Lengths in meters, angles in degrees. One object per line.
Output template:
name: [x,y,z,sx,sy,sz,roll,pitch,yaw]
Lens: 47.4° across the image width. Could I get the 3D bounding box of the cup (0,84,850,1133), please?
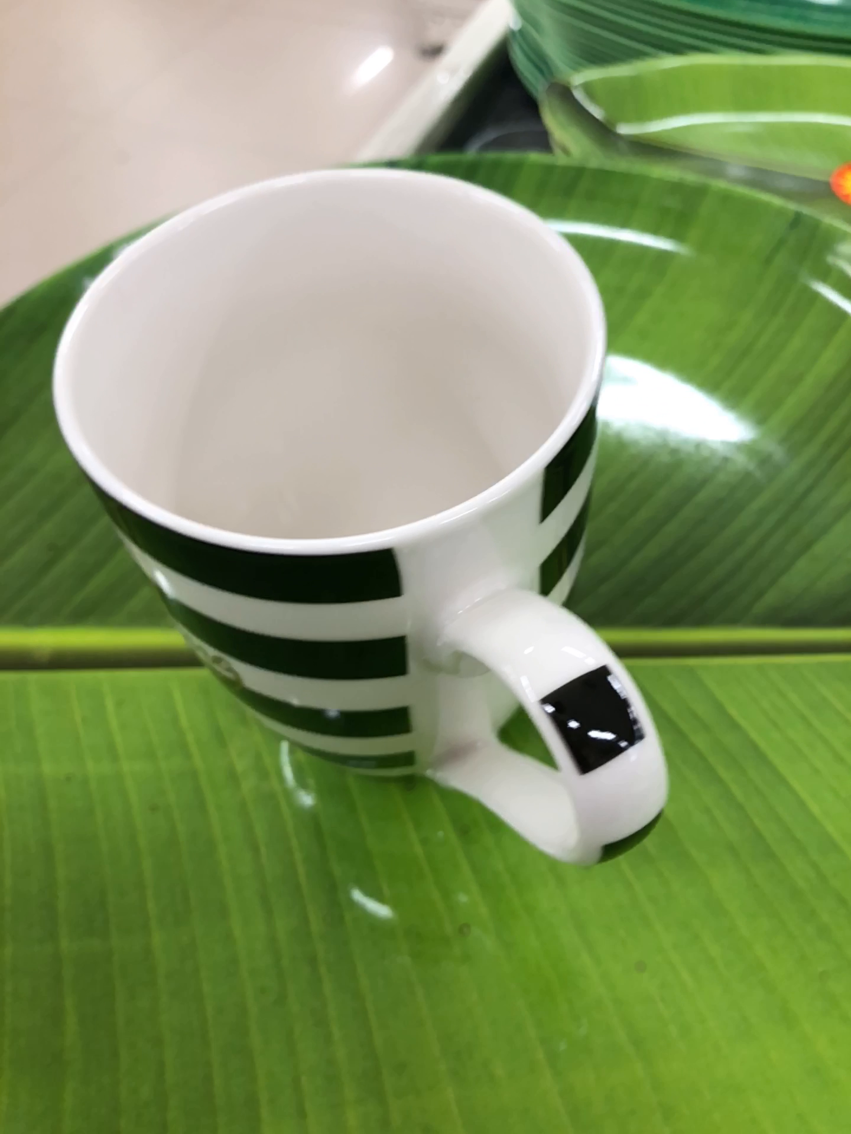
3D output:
cup: [-0.007,-0.001,0.156,0.080,0.080,0.130,-29,56,-18]
